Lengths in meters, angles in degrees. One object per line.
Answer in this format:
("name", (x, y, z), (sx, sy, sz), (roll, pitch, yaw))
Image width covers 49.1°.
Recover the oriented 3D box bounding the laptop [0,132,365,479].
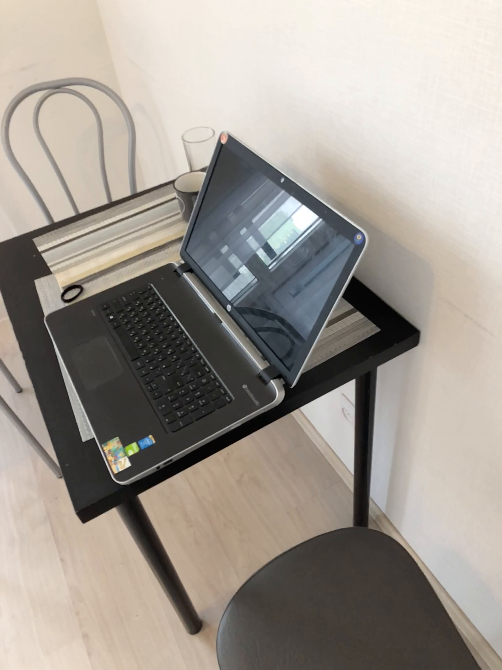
("laptop", (-0.116, -0.084, 0.881), (0.413, 0.227, 0.417), (-25, 46, -16))
